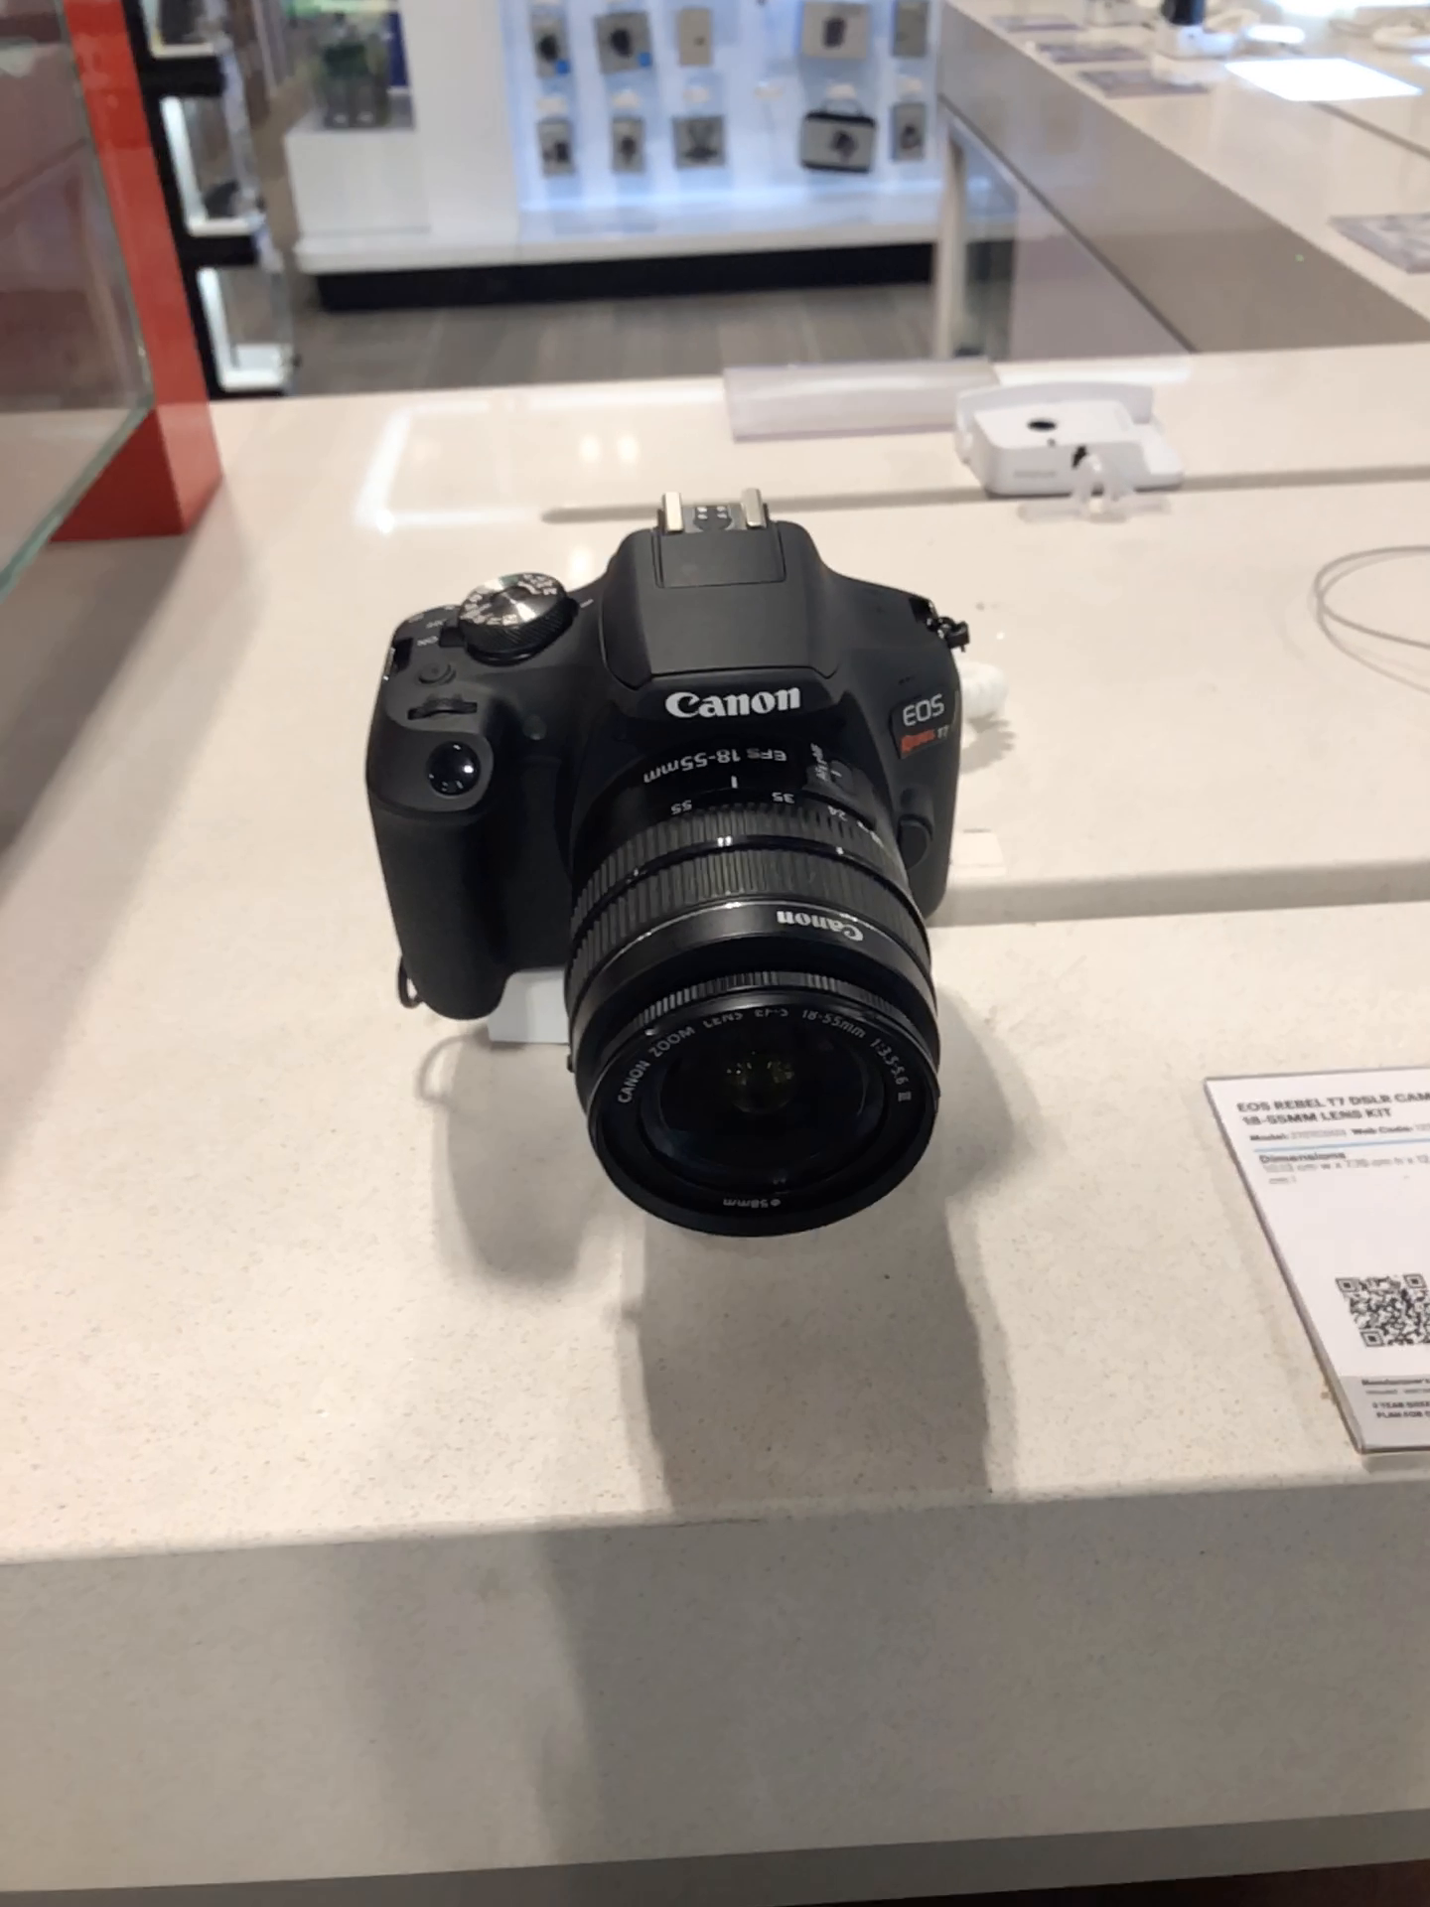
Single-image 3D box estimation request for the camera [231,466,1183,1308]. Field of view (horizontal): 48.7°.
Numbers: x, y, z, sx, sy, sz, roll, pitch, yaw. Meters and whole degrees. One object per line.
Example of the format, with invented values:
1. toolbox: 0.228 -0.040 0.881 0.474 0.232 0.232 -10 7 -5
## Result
1. camera: -0.005 -0.023 0.318 0.140 0.089 0.151 -5 36 -3
